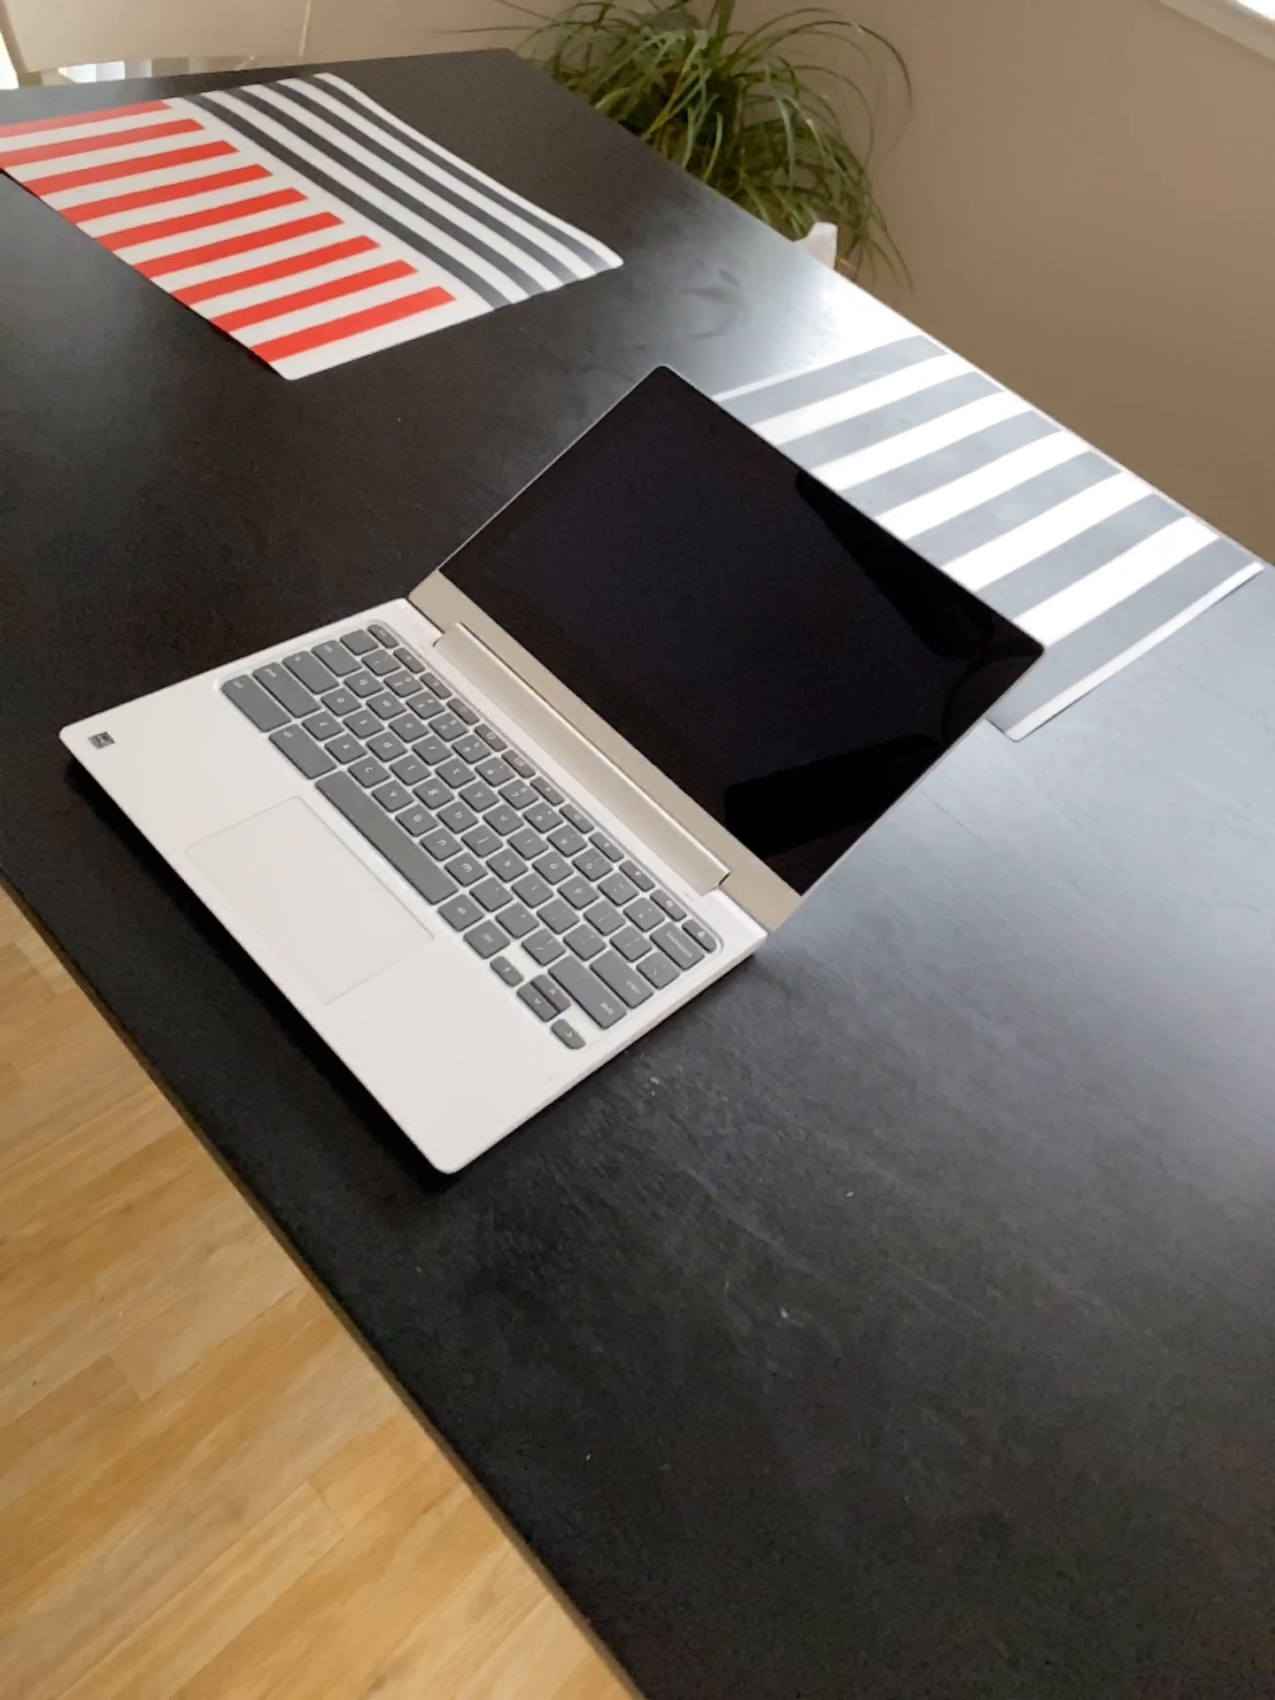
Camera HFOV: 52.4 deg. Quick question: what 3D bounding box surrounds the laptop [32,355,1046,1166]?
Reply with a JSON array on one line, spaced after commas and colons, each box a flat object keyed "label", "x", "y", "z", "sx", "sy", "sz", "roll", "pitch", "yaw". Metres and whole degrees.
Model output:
[{"label": "laptop", "x": -0.032, "y": -0.082, "z": 0.634, "sx": 0.285, "sy": 0.106, "sz": 0.381, "roll": 43, "pitch": 51, "yaw": 20}]
